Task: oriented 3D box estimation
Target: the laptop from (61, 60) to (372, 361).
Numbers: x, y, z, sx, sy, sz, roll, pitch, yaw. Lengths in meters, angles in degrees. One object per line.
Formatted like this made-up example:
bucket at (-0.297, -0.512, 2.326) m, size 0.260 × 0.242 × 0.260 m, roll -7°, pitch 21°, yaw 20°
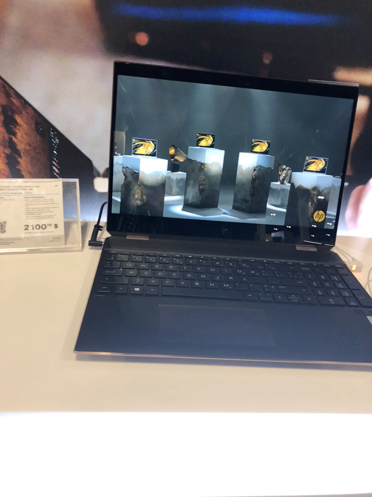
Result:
laptop at (0.057, -0.070, 0.488) m, size 0.332 × 0.226 × 0.323 m, roll 4°, pitch 27°, yaw -8°
